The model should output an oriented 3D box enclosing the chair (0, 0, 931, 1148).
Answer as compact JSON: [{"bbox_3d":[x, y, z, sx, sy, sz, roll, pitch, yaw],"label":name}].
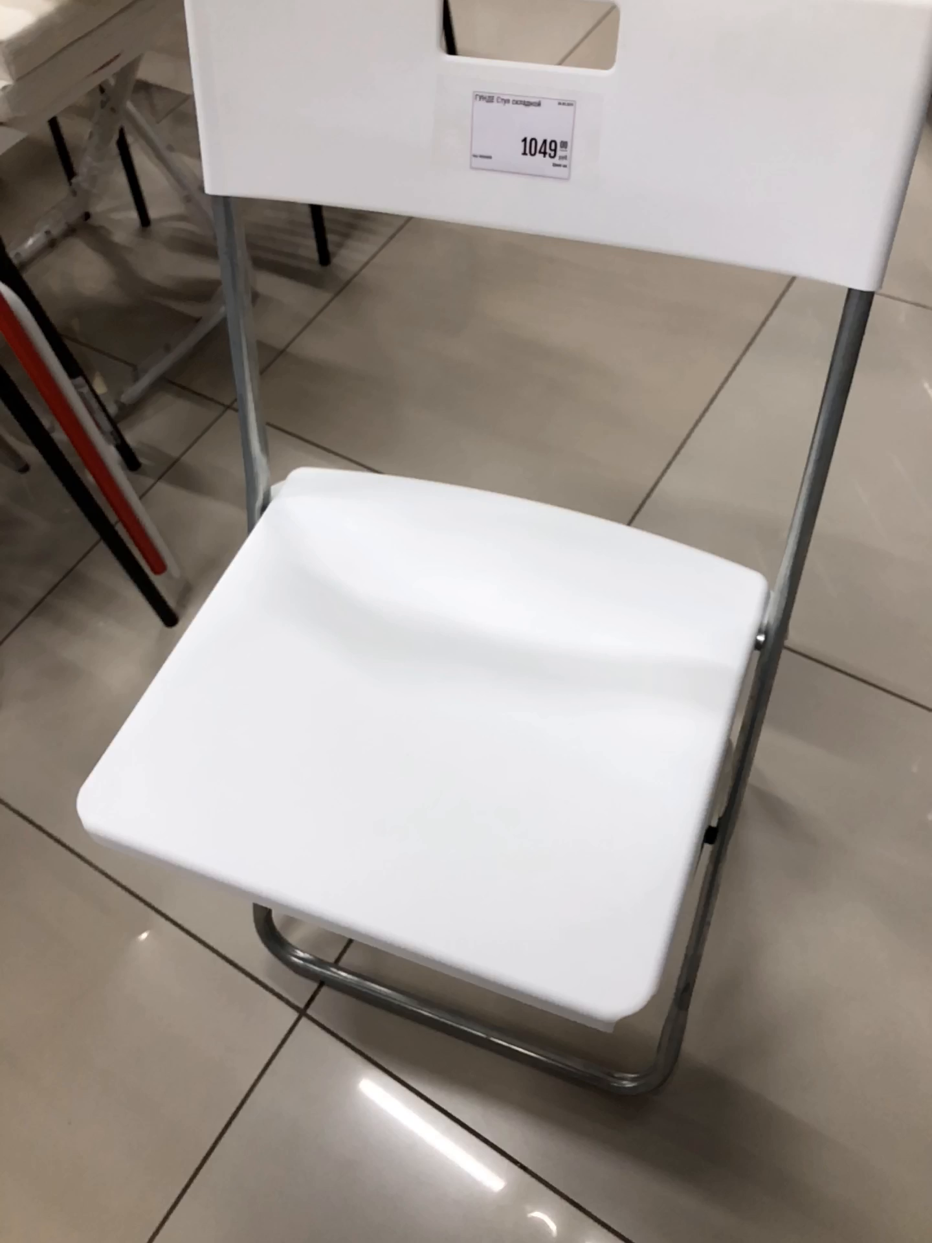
[{"bbox_3d":[0.002,0.017,0.722,0.426,0.712,0.432,15,60,17],"label":"chair"}]
